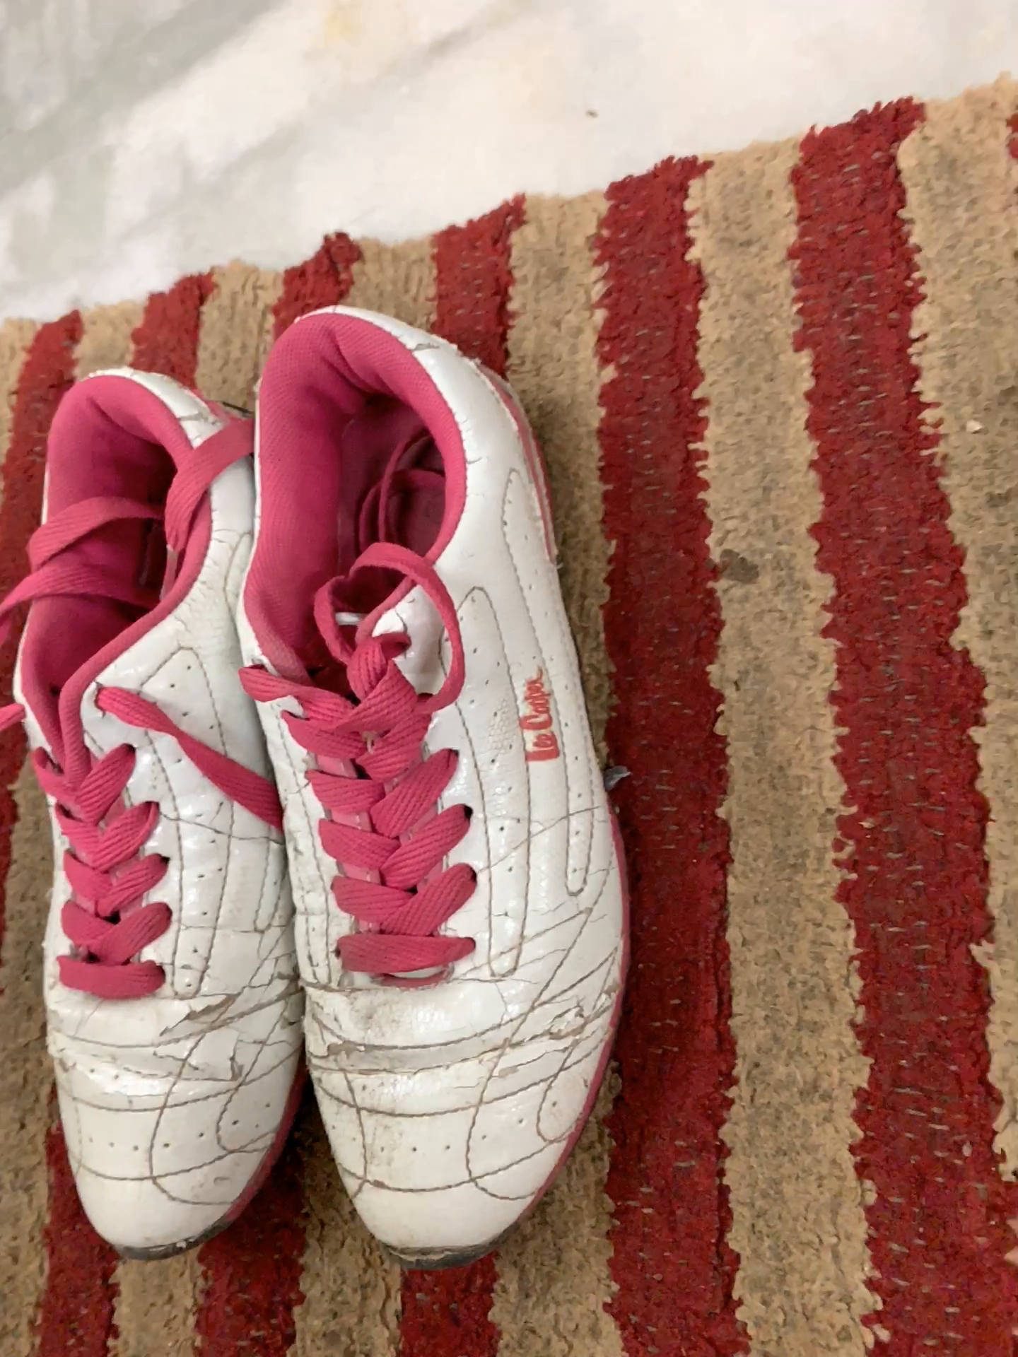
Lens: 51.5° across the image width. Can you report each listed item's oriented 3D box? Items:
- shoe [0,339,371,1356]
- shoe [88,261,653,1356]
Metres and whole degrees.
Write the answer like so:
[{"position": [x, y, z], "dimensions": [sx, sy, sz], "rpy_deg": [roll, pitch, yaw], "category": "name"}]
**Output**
[{"position": [-0.109, 0.043, 0.306], "dimensions": [0.090, 0.100, 0.240], "rpy_deg": [-5, 75, 22], "category": "shoe"}, {"position": [-0.026, 0.033, 0.284], "dimensions": [0.100, 0.100, 0.240], "rpy_deg": [-5, 75, 22], "category": "shoe"}]
